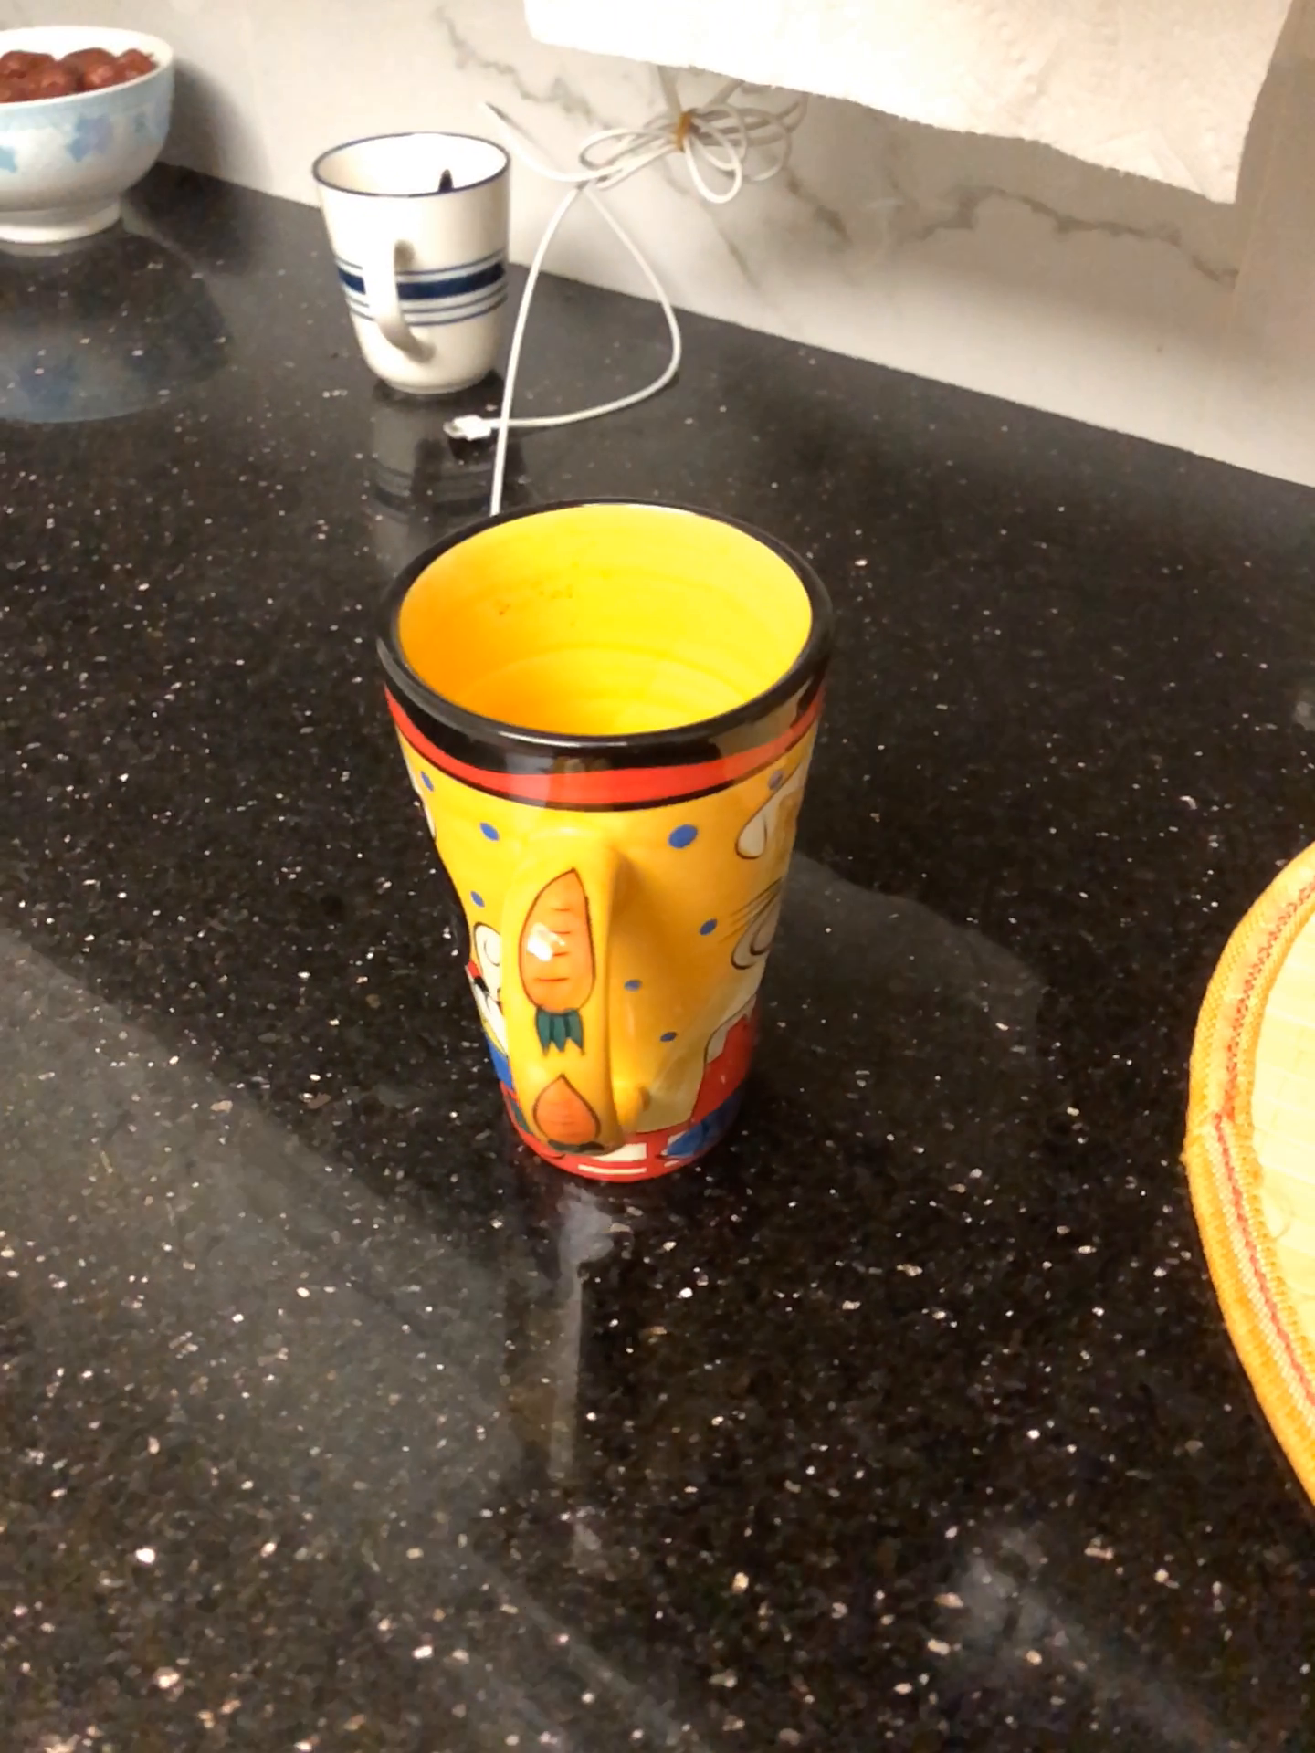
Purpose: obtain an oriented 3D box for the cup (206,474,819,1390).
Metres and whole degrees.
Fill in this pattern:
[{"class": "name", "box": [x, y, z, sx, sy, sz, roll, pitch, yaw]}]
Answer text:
[{"class": "cup", "box": [-0.016, 0.011, 0.311, 0.090, 0.139, 0.131, 3, 43, 5]}]
